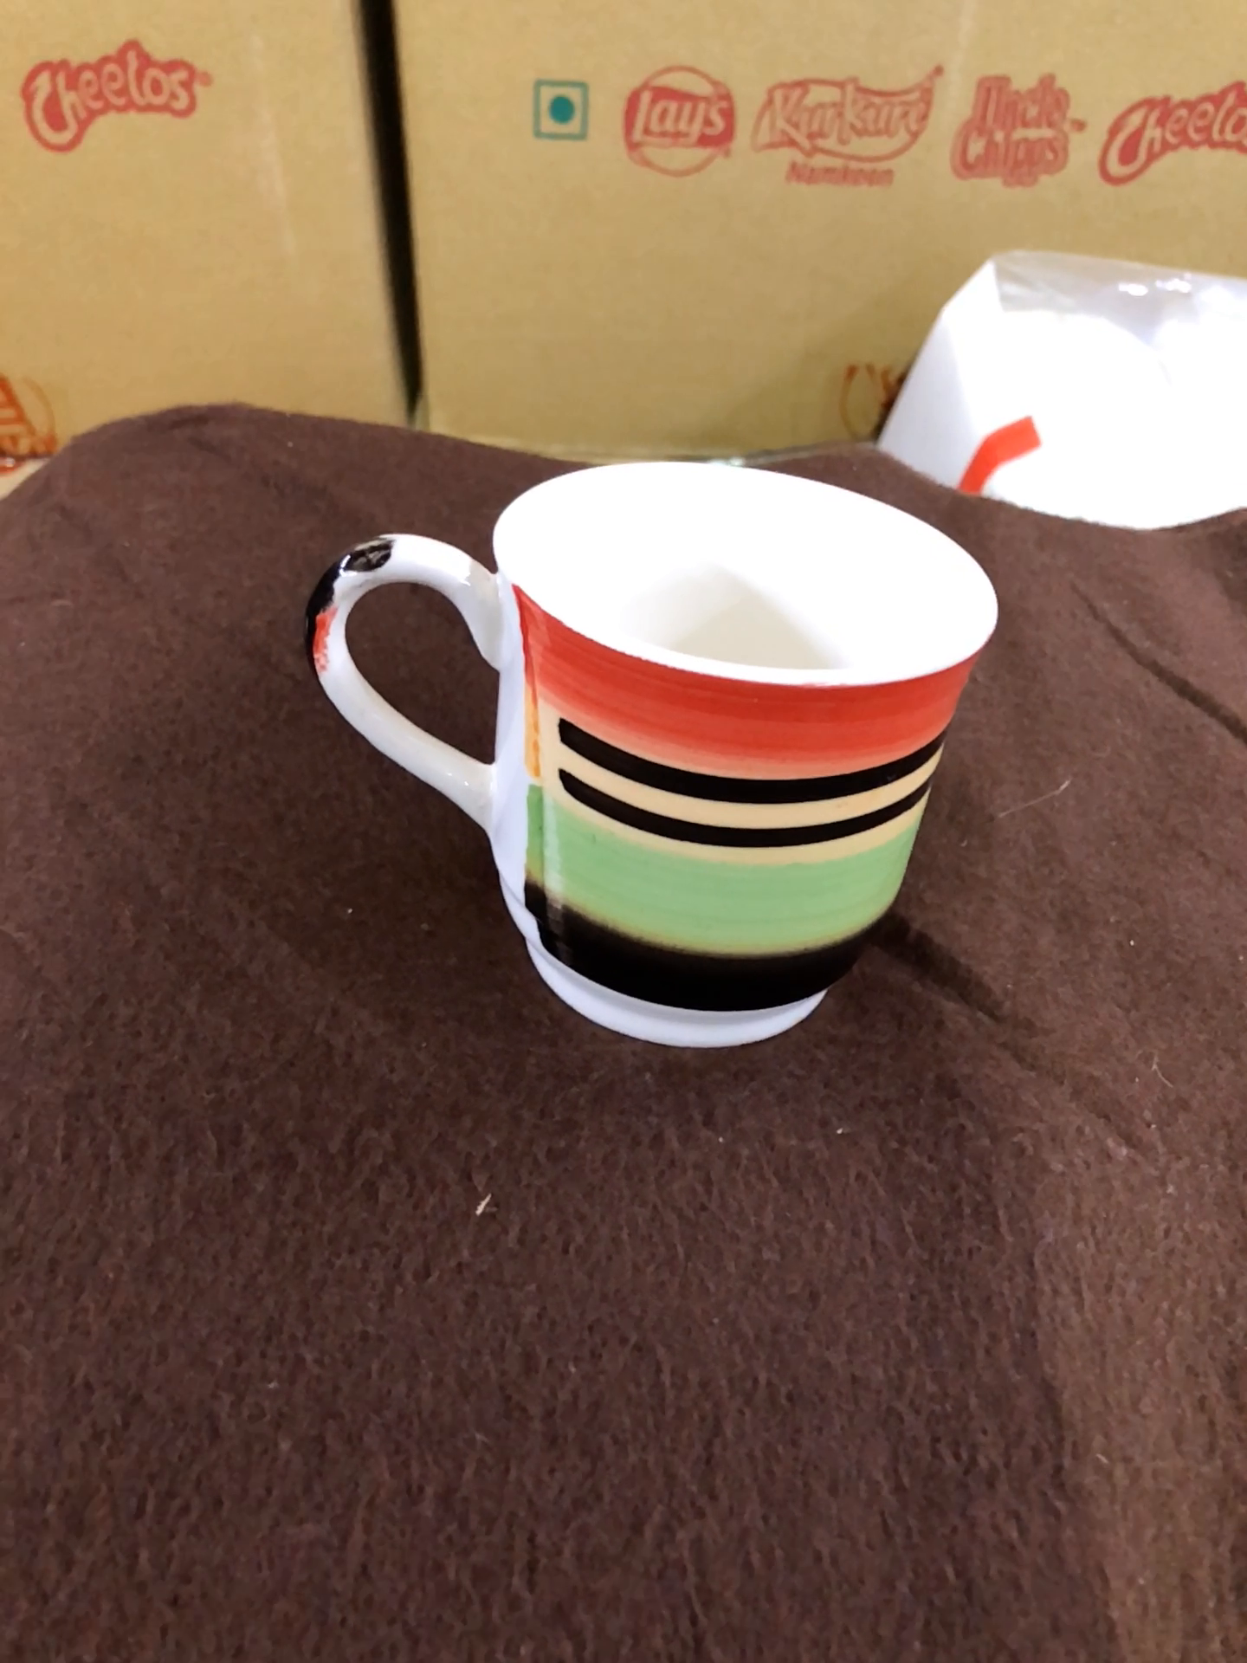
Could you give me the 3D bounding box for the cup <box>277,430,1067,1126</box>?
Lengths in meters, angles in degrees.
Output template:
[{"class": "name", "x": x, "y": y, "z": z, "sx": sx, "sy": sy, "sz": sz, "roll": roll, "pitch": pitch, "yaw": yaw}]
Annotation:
[{"class": "cup", "x": 0.007, "y": -0.011, "z": 0.208, "sx": 0.090, "sy": 0.070, "sz": 0.070, "roll": 5, "pitch": 34, "yaw": 3}]
